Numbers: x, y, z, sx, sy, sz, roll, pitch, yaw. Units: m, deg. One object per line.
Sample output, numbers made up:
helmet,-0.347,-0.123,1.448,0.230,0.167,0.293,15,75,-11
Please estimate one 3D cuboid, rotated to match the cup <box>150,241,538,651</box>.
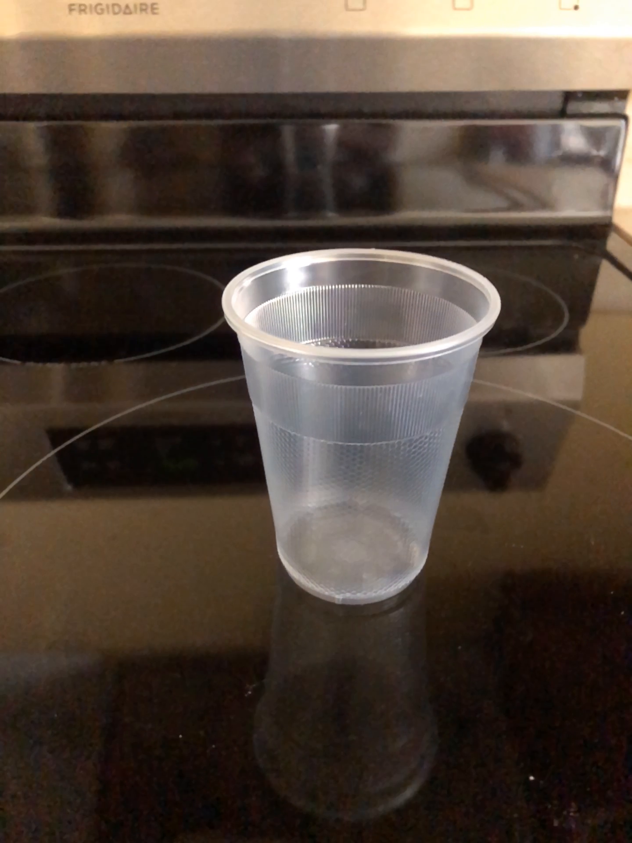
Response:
cup,0.009,0.002,0.199,0.079,0.081,0.081,-1,30,0
